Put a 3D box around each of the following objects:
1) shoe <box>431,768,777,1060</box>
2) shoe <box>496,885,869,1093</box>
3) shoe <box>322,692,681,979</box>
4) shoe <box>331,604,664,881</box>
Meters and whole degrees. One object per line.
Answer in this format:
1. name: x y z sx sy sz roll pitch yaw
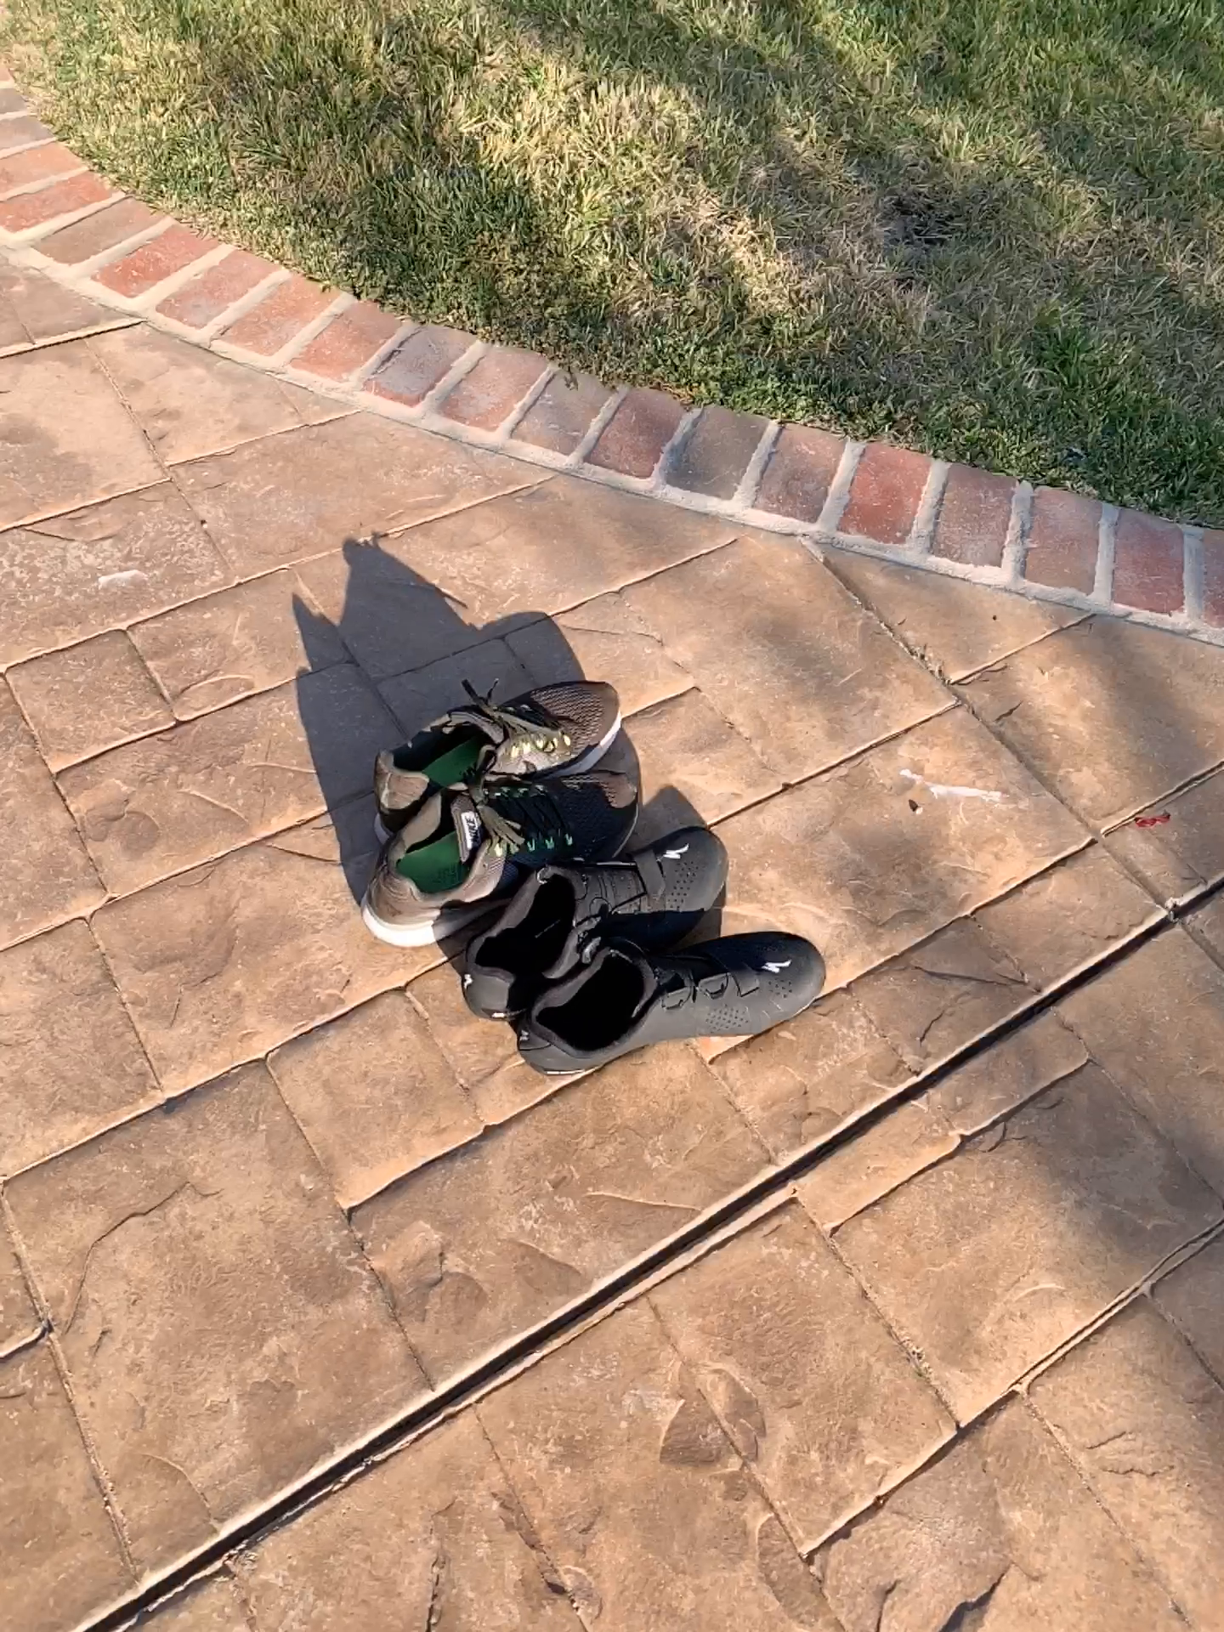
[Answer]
1. shoe: -0.004 0.078 1.070 0.280 0.070 0.110 -30 61 -23
2. shoe: 0.056 0.142 1.042 0.290 0.060 0.100 -10 55 -12
3. shoe: -0.096 0.013 1.126 0.290 0.100 0.120 -25 60 -21
4. shoe: -0.105 -0.076 1.197 0.290 0.100 0.120 -30 61 -23
